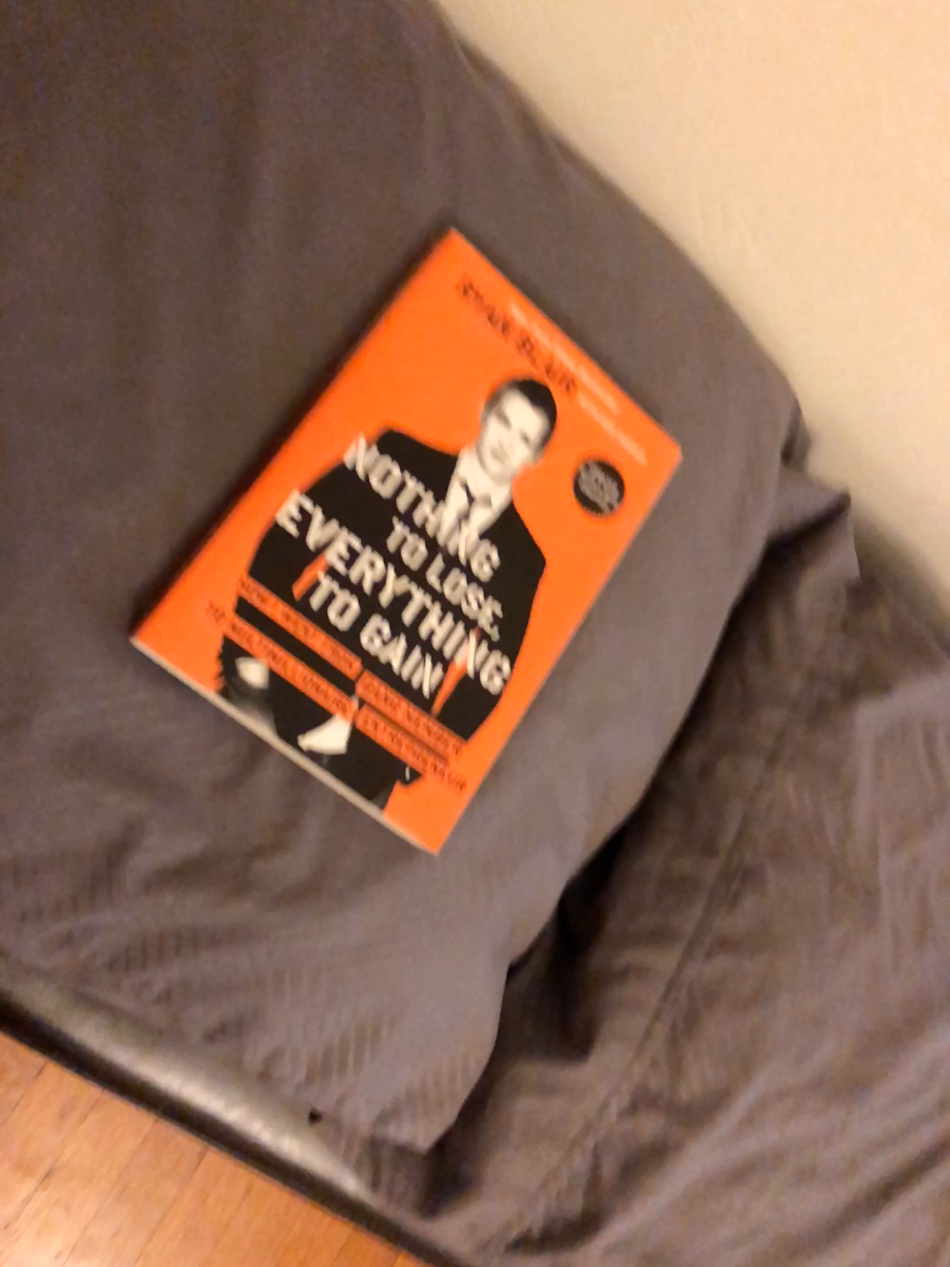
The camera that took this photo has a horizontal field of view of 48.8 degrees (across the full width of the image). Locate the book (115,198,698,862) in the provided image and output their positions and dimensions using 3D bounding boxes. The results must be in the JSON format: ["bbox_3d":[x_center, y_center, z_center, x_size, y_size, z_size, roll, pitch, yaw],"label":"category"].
[{"bbox_3d":[-0.014,-0.045,0.437,0.150,0.020,0.230,40,70,-20],"label":"book"}]
